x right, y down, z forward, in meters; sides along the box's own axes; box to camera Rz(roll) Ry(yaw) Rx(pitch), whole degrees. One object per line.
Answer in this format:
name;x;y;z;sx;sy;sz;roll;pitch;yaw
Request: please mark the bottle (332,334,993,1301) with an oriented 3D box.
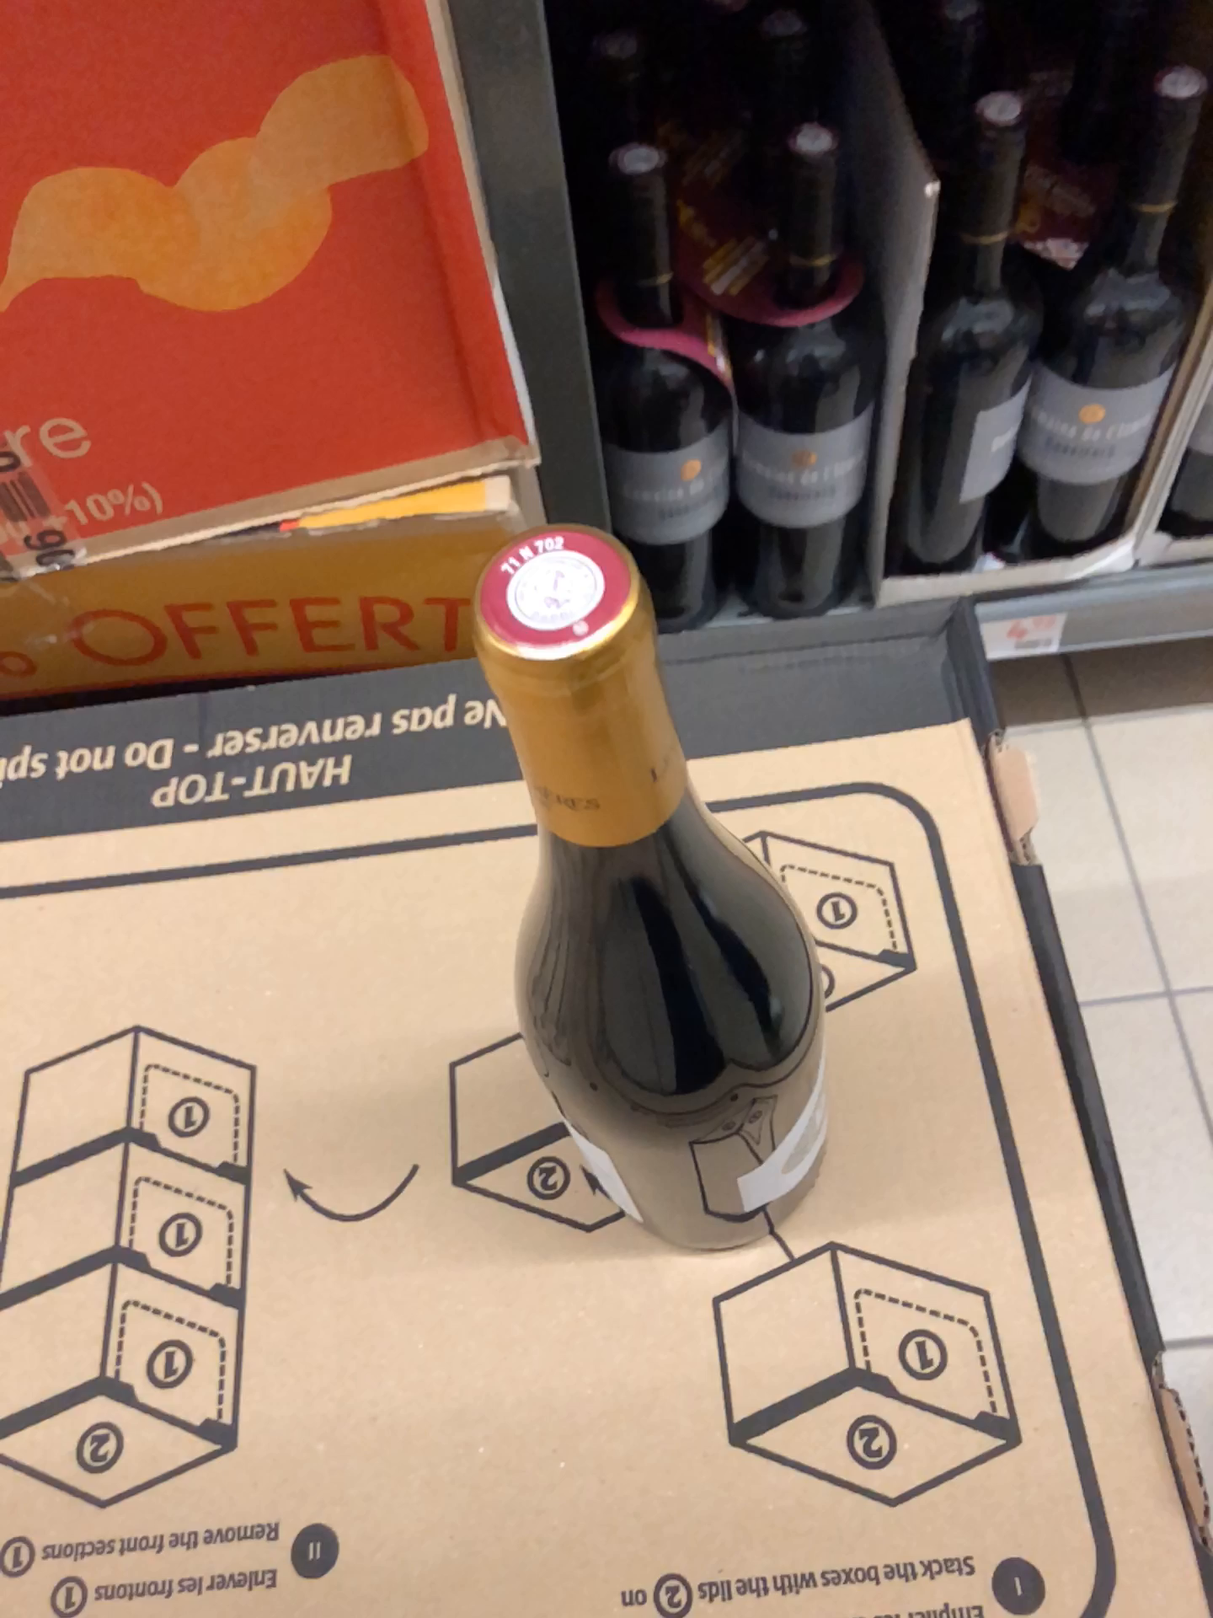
bottle;0.017;0.041;0.323;0.080;0.299;0.090;-11;61;0
